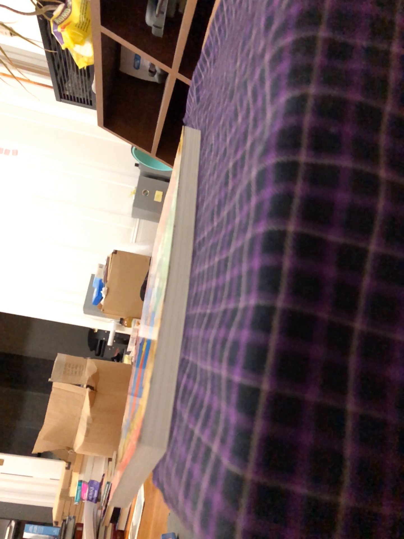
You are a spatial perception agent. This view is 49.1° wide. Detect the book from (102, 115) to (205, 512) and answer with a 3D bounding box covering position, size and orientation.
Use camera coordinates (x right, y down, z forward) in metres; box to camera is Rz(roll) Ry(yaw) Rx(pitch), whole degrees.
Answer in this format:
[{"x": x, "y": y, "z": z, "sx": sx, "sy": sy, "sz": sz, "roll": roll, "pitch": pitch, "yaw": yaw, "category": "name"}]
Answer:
[{"x": -0.037, "y": 0.028, "z": 0.356, "sx": 0.170, "sy": 0.020, "sz": 0.270, "roll": 114, "pitch": 165, "yaw": -51, "category": "book"}]
